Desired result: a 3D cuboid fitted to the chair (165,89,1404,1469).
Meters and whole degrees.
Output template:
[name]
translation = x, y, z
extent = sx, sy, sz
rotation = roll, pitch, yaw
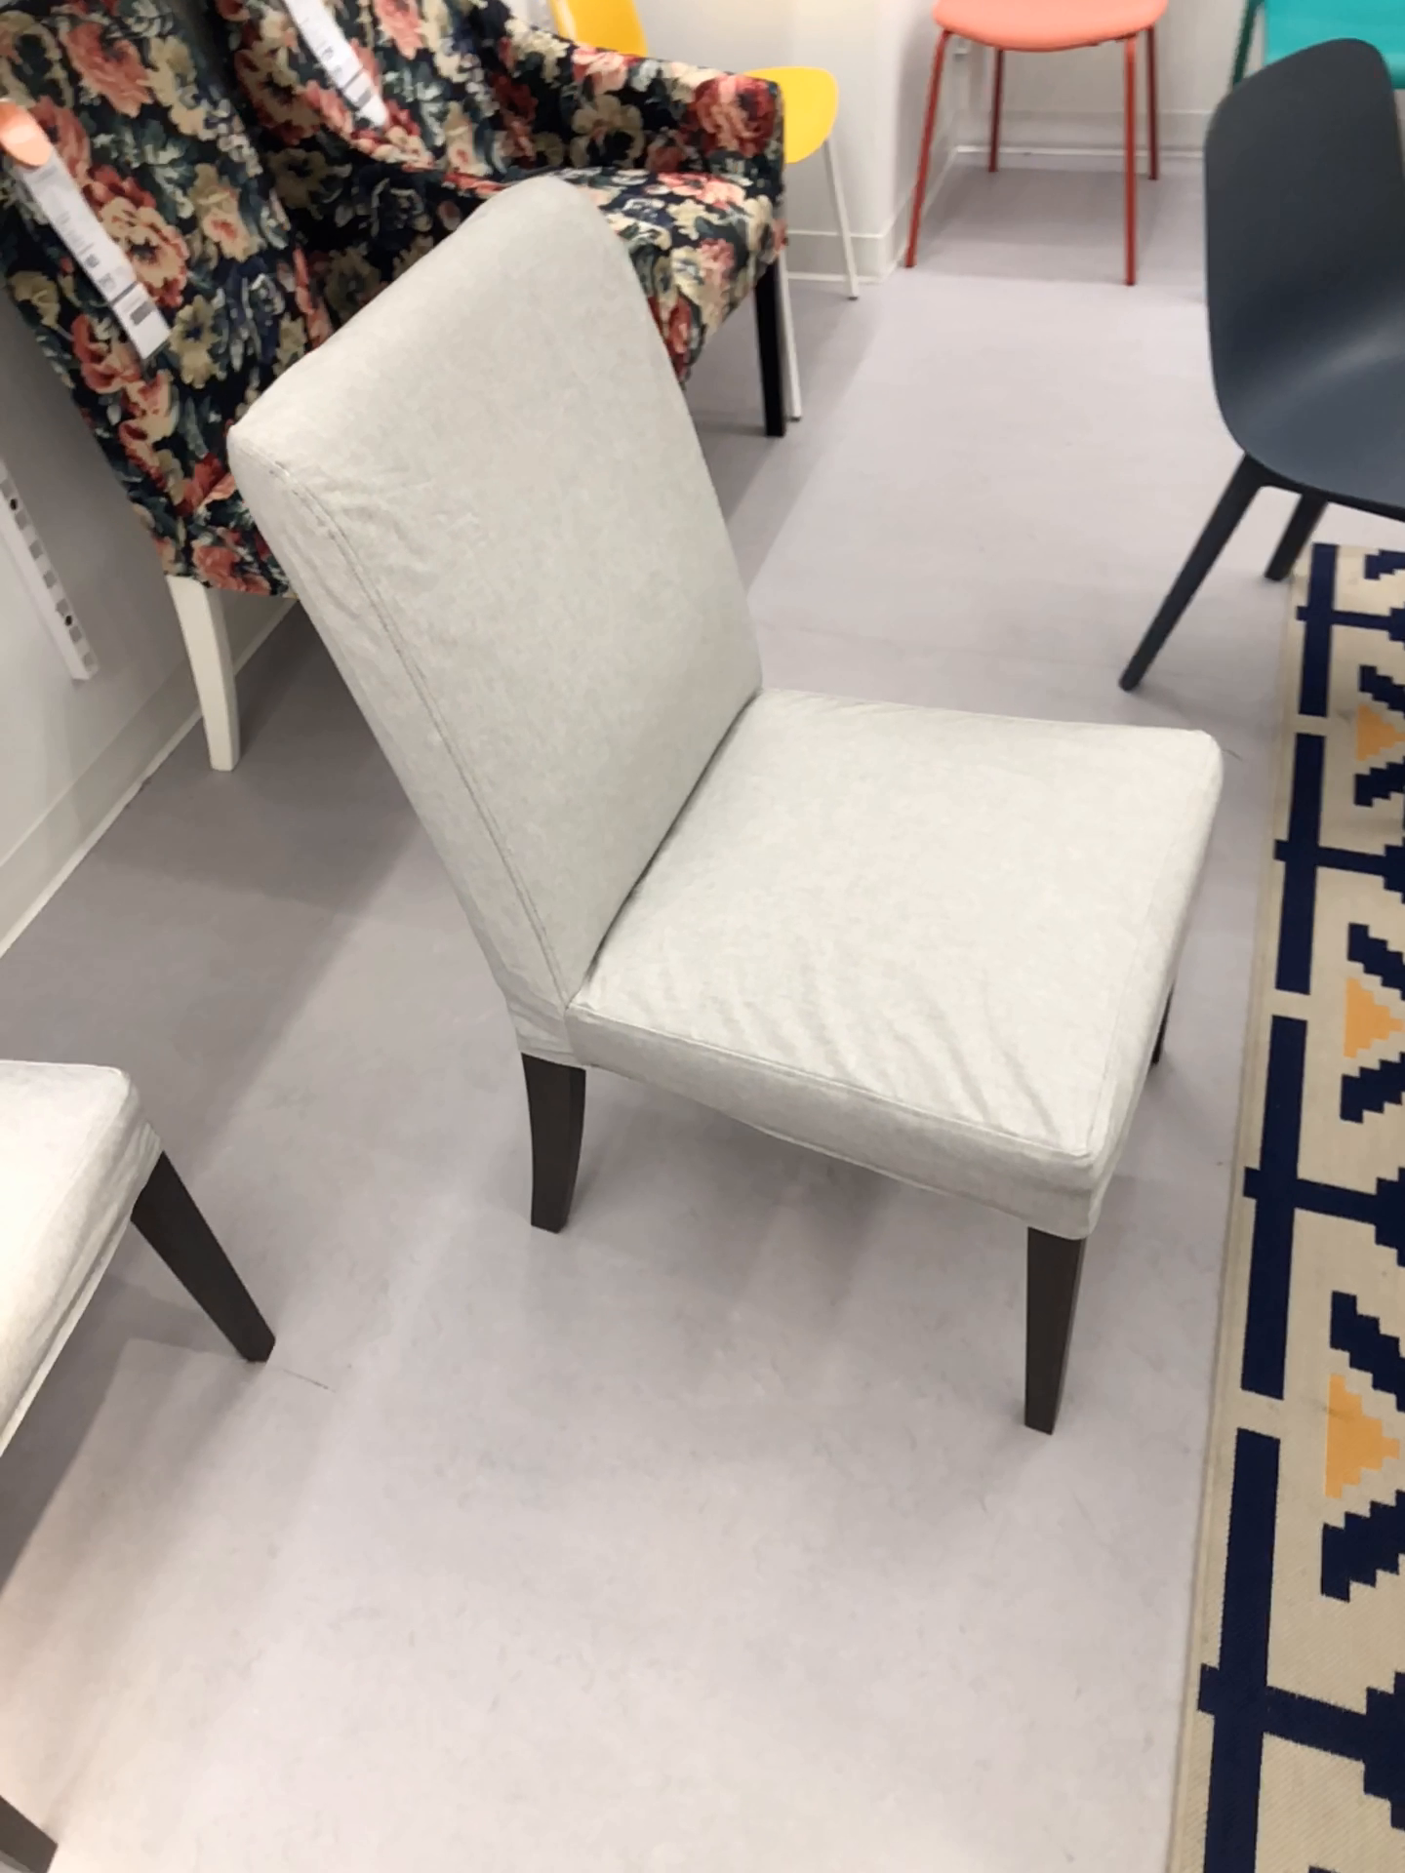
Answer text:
[chair]
translation = 0.134, -0.114, 1.250
extent = 0.641, 0.854, 0.563
rotation = 13, 49, 19
